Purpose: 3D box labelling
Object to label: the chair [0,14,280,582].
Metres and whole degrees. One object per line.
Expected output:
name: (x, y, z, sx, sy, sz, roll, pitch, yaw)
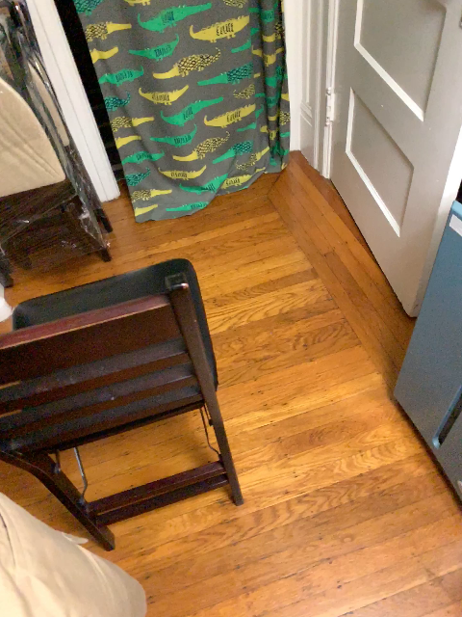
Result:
chair: (-0.249, 0.051, 0.912, 0.490, 0.866, 0.553, -18, 49, -7)
